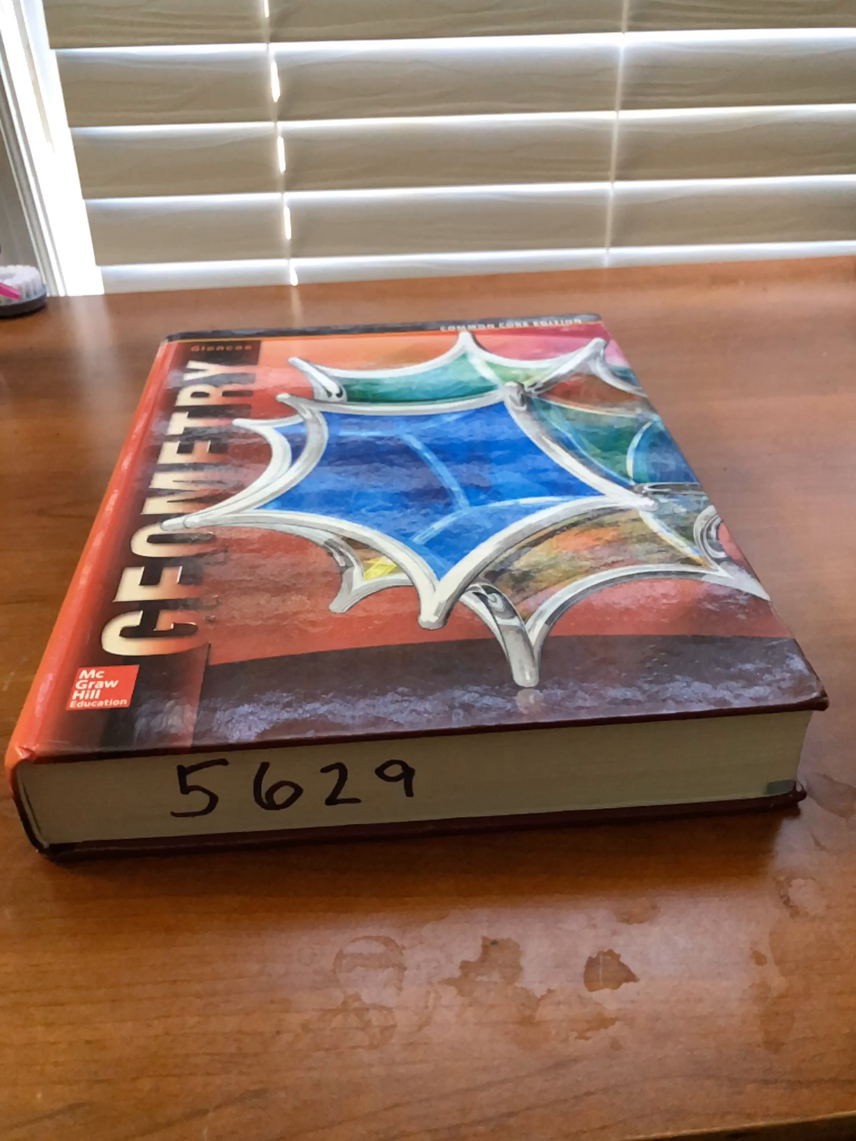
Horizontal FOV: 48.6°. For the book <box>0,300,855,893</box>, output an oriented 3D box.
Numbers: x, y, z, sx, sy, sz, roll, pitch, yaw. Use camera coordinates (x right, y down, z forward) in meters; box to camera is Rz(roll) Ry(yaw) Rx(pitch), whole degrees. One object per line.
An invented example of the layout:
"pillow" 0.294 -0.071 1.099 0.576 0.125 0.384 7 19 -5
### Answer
"book" -0.011 -0.026 0.384 0.229 0.050 0.312 -3 35 -3
